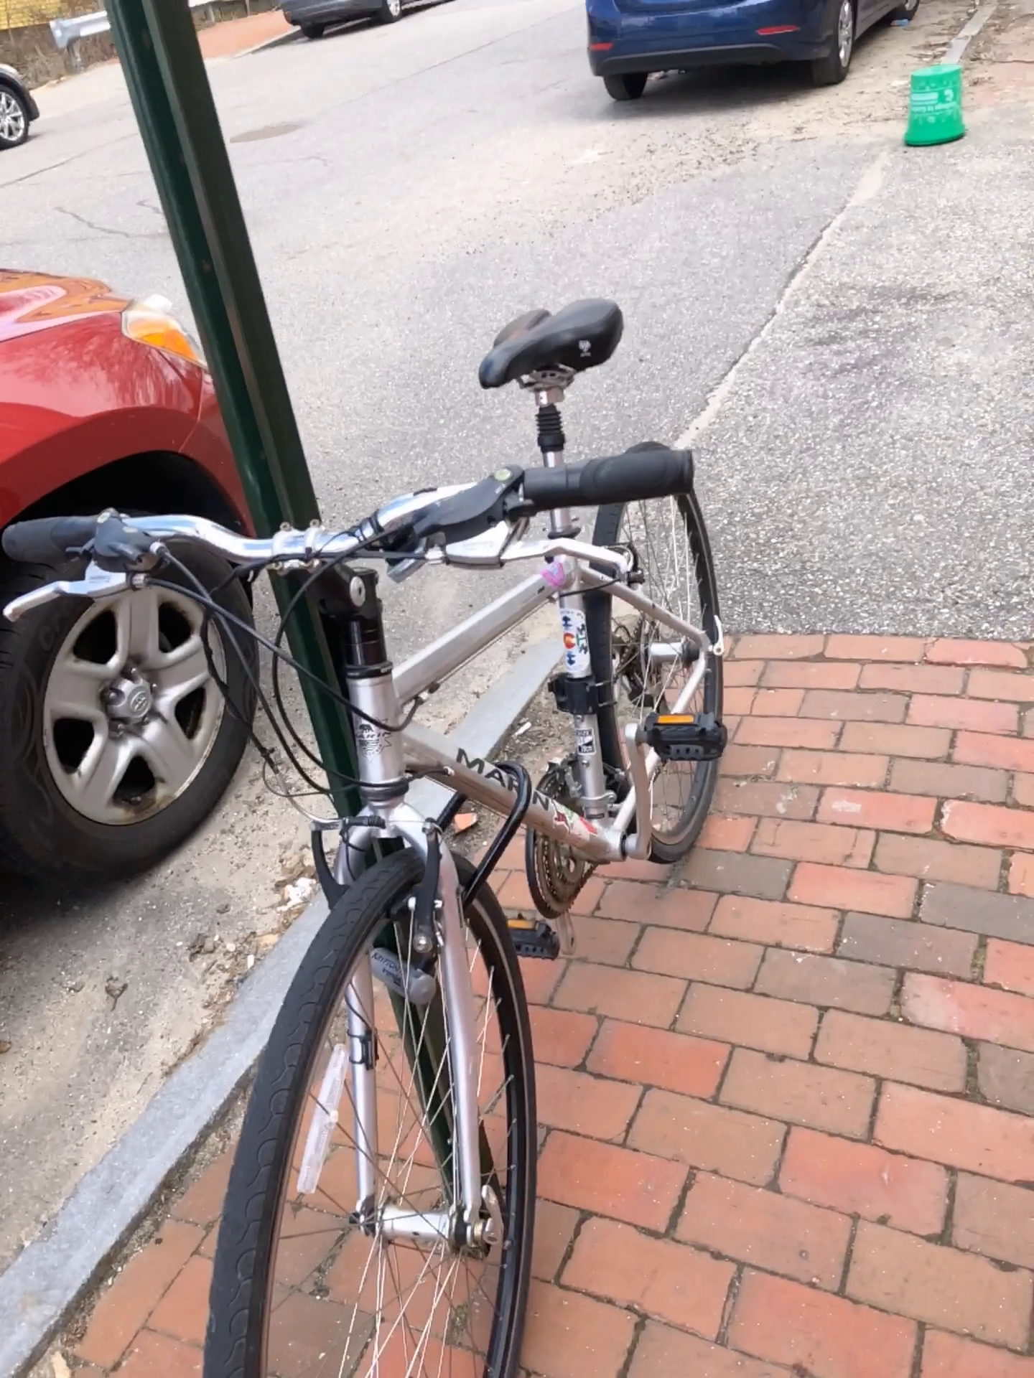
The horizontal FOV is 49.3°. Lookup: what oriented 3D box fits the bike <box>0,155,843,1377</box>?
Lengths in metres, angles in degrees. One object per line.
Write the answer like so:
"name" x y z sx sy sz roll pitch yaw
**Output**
"bike" -0.018 0.022 1.233 0.608 1.011 1.569 4 31 18
